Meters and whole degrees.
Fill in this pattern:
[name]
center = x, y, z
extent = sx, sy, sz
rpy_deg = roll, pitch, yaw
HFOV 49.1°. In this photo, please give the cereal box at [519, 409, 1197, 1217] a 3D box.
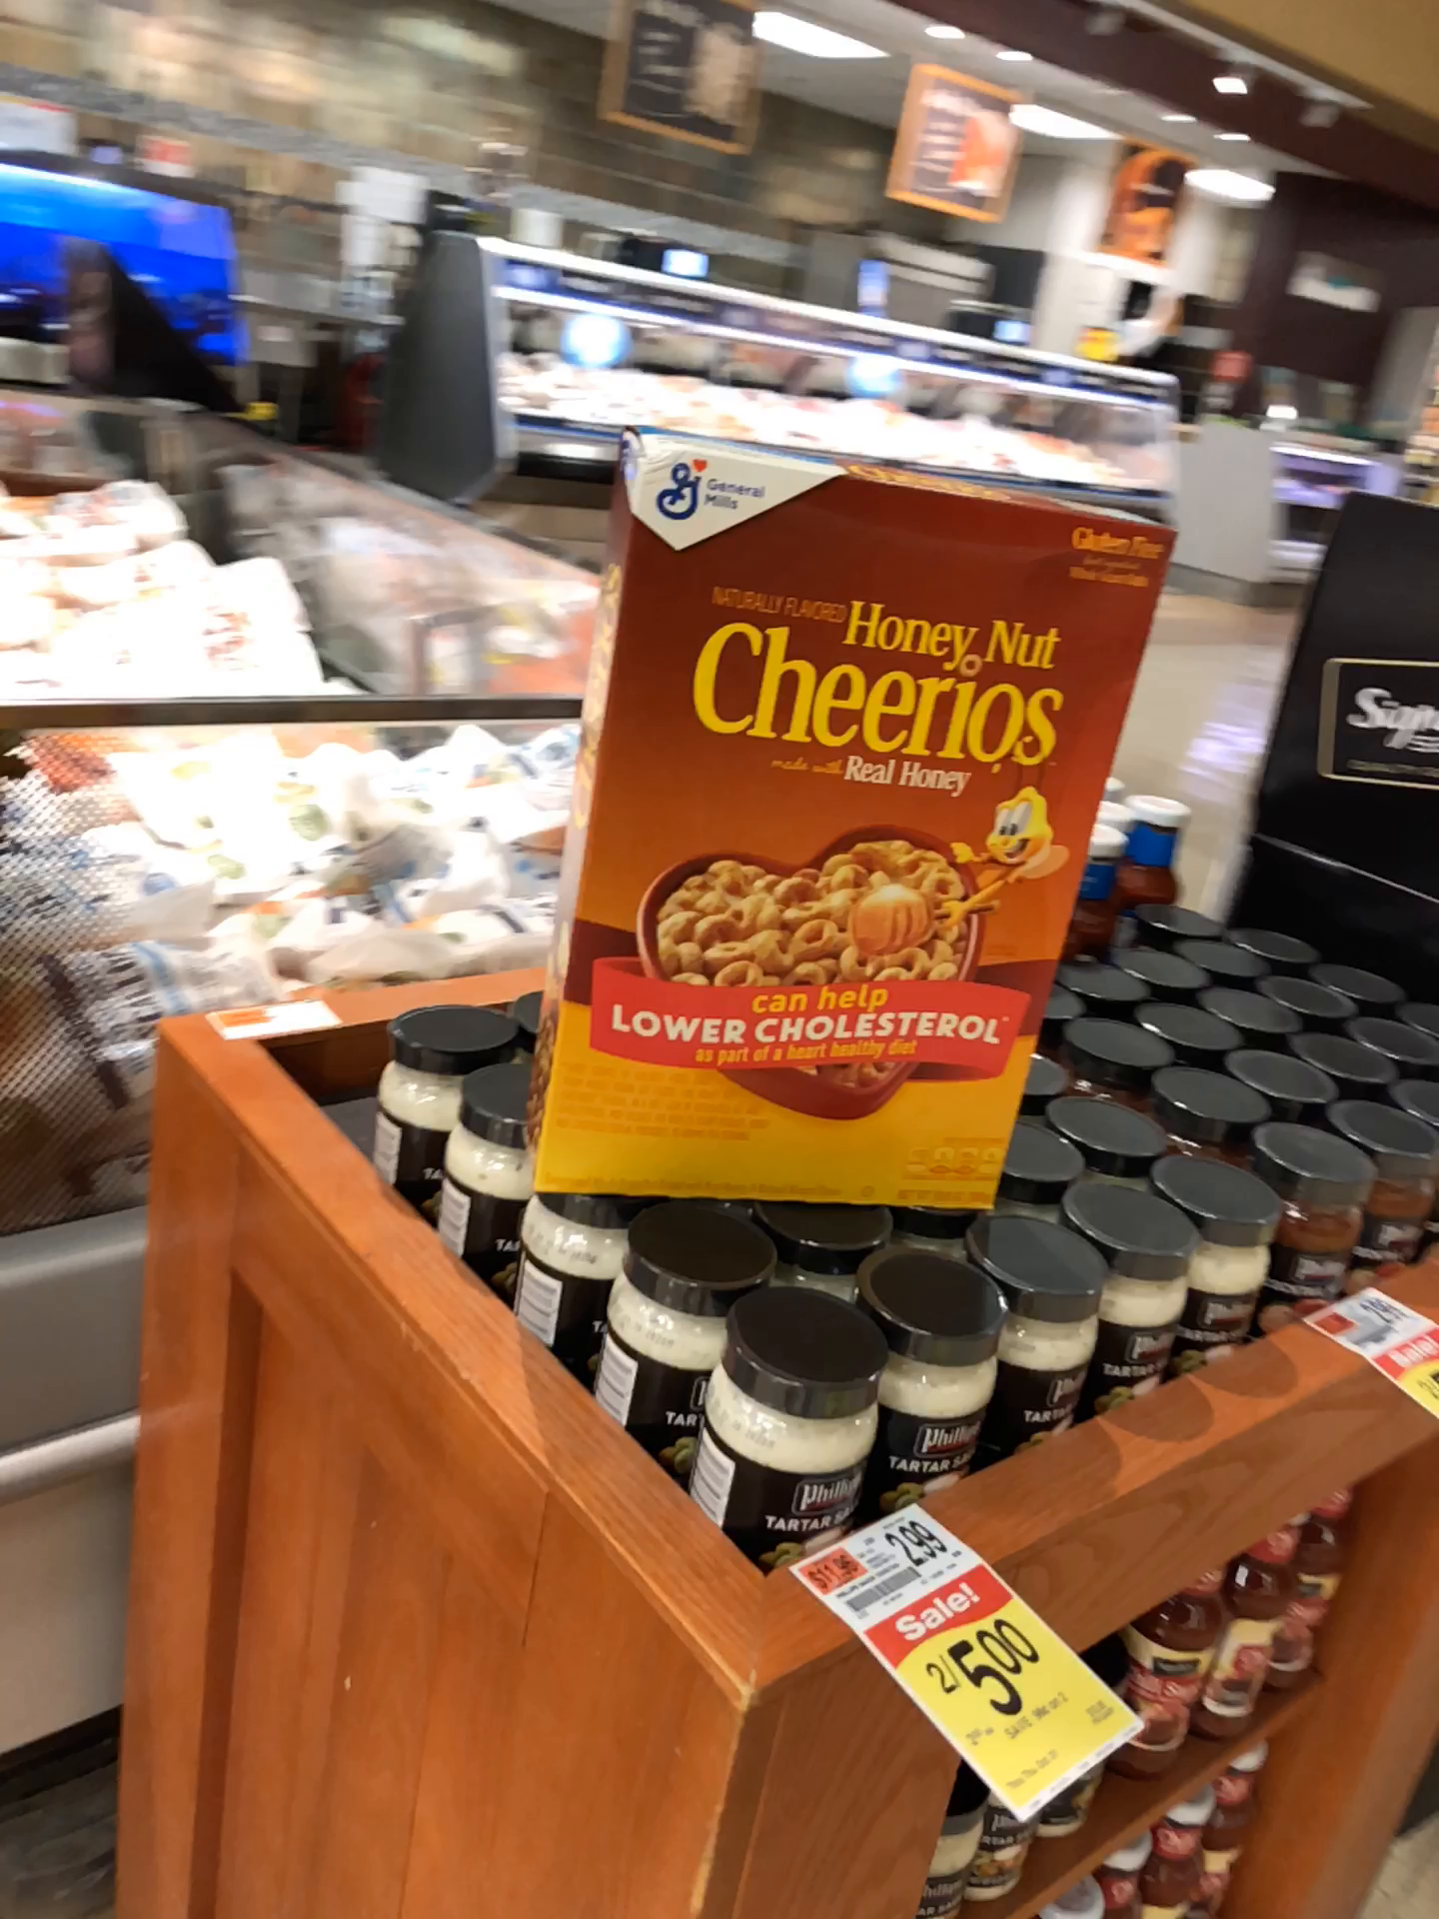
[cereal box]
center = 0.042, -0.042, 0.602
extent = 0.200, 0.288, 0.050
rpy_deg = 4, 22, -14
